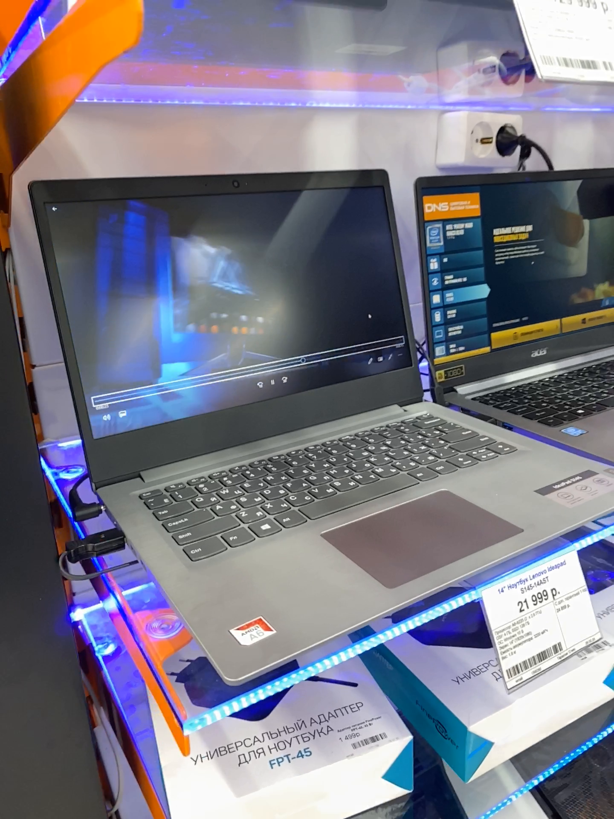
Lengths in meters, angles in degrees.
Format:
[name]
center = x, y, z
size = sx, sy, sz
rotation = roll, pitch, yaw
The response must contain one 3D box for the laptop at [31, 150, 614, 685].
[laptop]
center = 0.023, -0.055, 0.445
size = 0.327, 0.215, 0.303
rotation = -13, 22, -29
